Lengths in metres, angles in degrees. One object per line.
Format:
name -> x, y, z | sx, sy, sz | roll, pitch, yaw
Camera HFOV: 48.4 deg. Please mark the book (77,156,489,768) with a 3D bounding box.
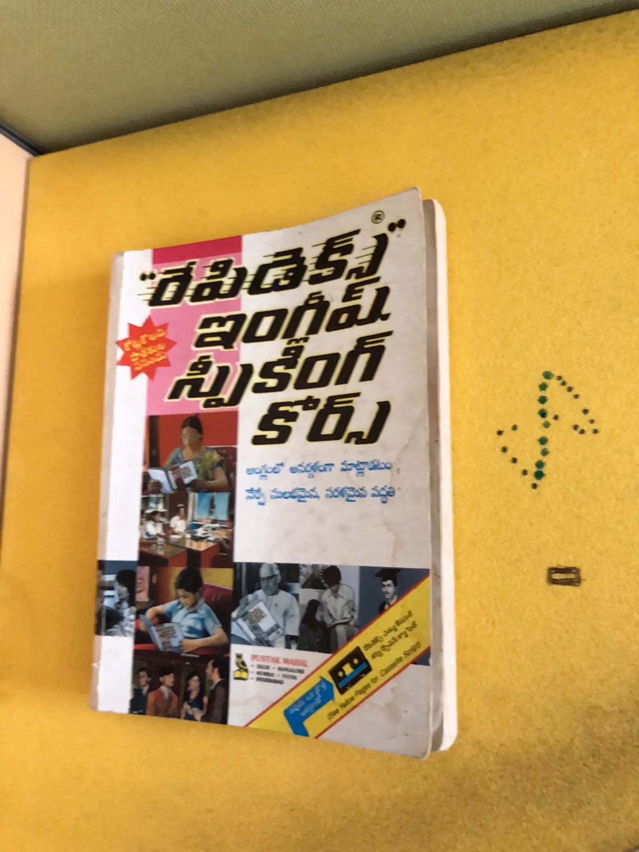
book -> -0.023, 0.013, 0.339 | 0.190, 0.030, 0.250 | -4, 80, 23
